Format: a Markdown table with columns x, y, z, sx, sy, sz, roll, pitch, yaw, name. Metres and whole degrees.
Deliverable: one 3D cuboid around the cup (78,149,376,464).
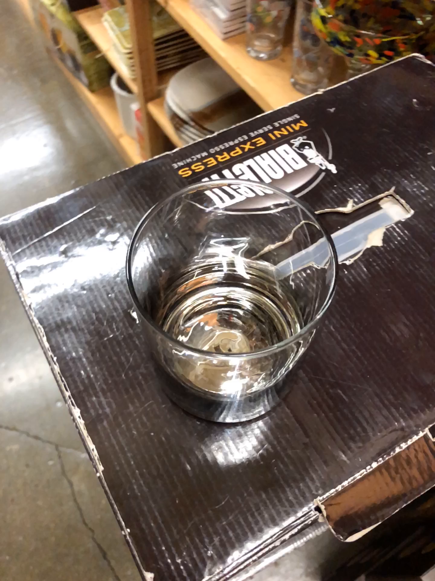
| x | y | z | sx | sy | sz | roll | pitch | yaw | name |
| --- | --- | --- | --- | --- | --- | --- | --- | --- | --- |
| 0.006 | 0.011 | 0.228 | 0.085 | 0.093 | 0.089 | 0 | 60 | -1 | cup |
